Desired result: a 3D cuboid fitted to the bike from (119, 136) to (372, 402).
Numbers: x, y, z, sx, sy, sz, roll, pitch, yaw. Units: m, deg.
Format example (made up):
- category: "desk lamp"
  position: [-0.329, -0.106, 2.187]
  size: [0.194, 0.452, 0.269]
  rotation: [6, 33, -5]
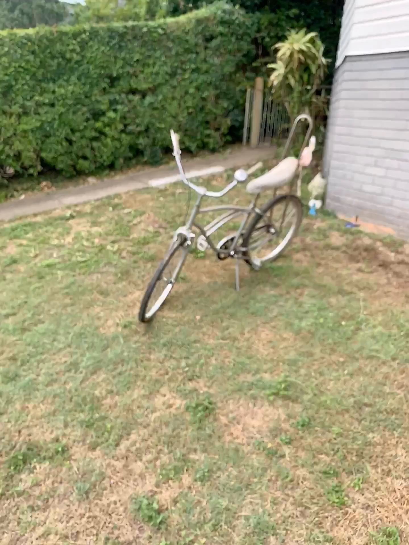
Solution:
- category: "bike"
  position: [0.296, -0.204, 2.920]
  size: [1.603, 0.990, 0.802]
  rotation: [-26, 34, -37]
